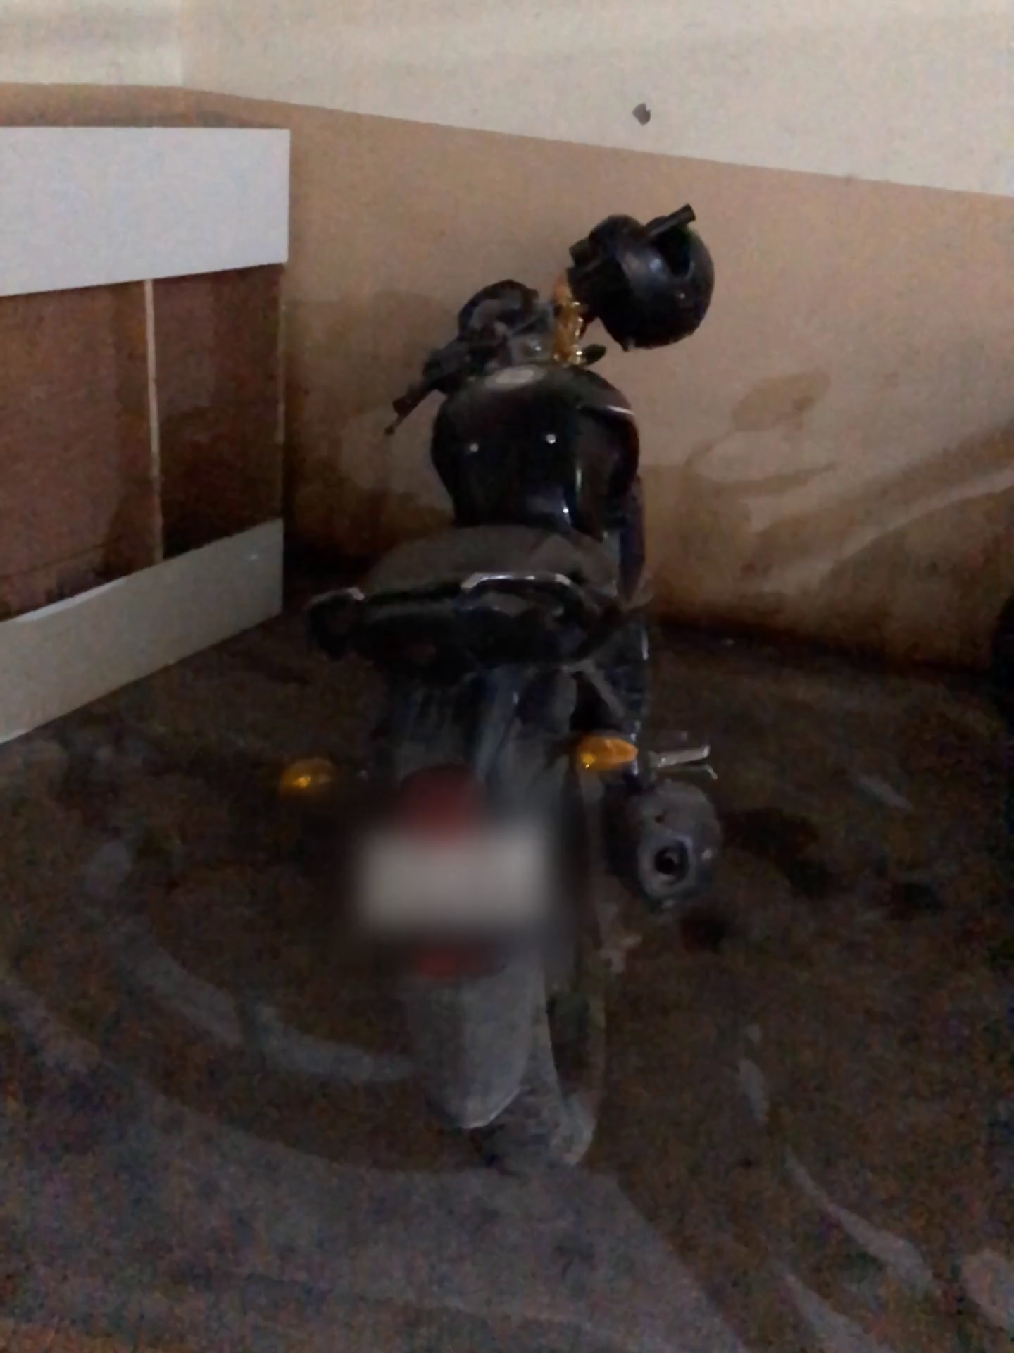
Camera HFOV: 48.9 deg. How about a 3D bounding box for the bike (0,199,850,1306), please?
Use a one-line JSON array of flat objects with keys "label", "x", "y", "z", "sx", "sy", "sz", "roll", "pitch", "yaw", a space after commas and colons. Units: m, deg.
[{"label": "bike", "x": -0.073, "y": -0.112, "z": 1.969, "sx": 0.717, "sy": 1.179, "sz": 1.711, "roll": 7, "pitch": 27, "yaw": 1}]
